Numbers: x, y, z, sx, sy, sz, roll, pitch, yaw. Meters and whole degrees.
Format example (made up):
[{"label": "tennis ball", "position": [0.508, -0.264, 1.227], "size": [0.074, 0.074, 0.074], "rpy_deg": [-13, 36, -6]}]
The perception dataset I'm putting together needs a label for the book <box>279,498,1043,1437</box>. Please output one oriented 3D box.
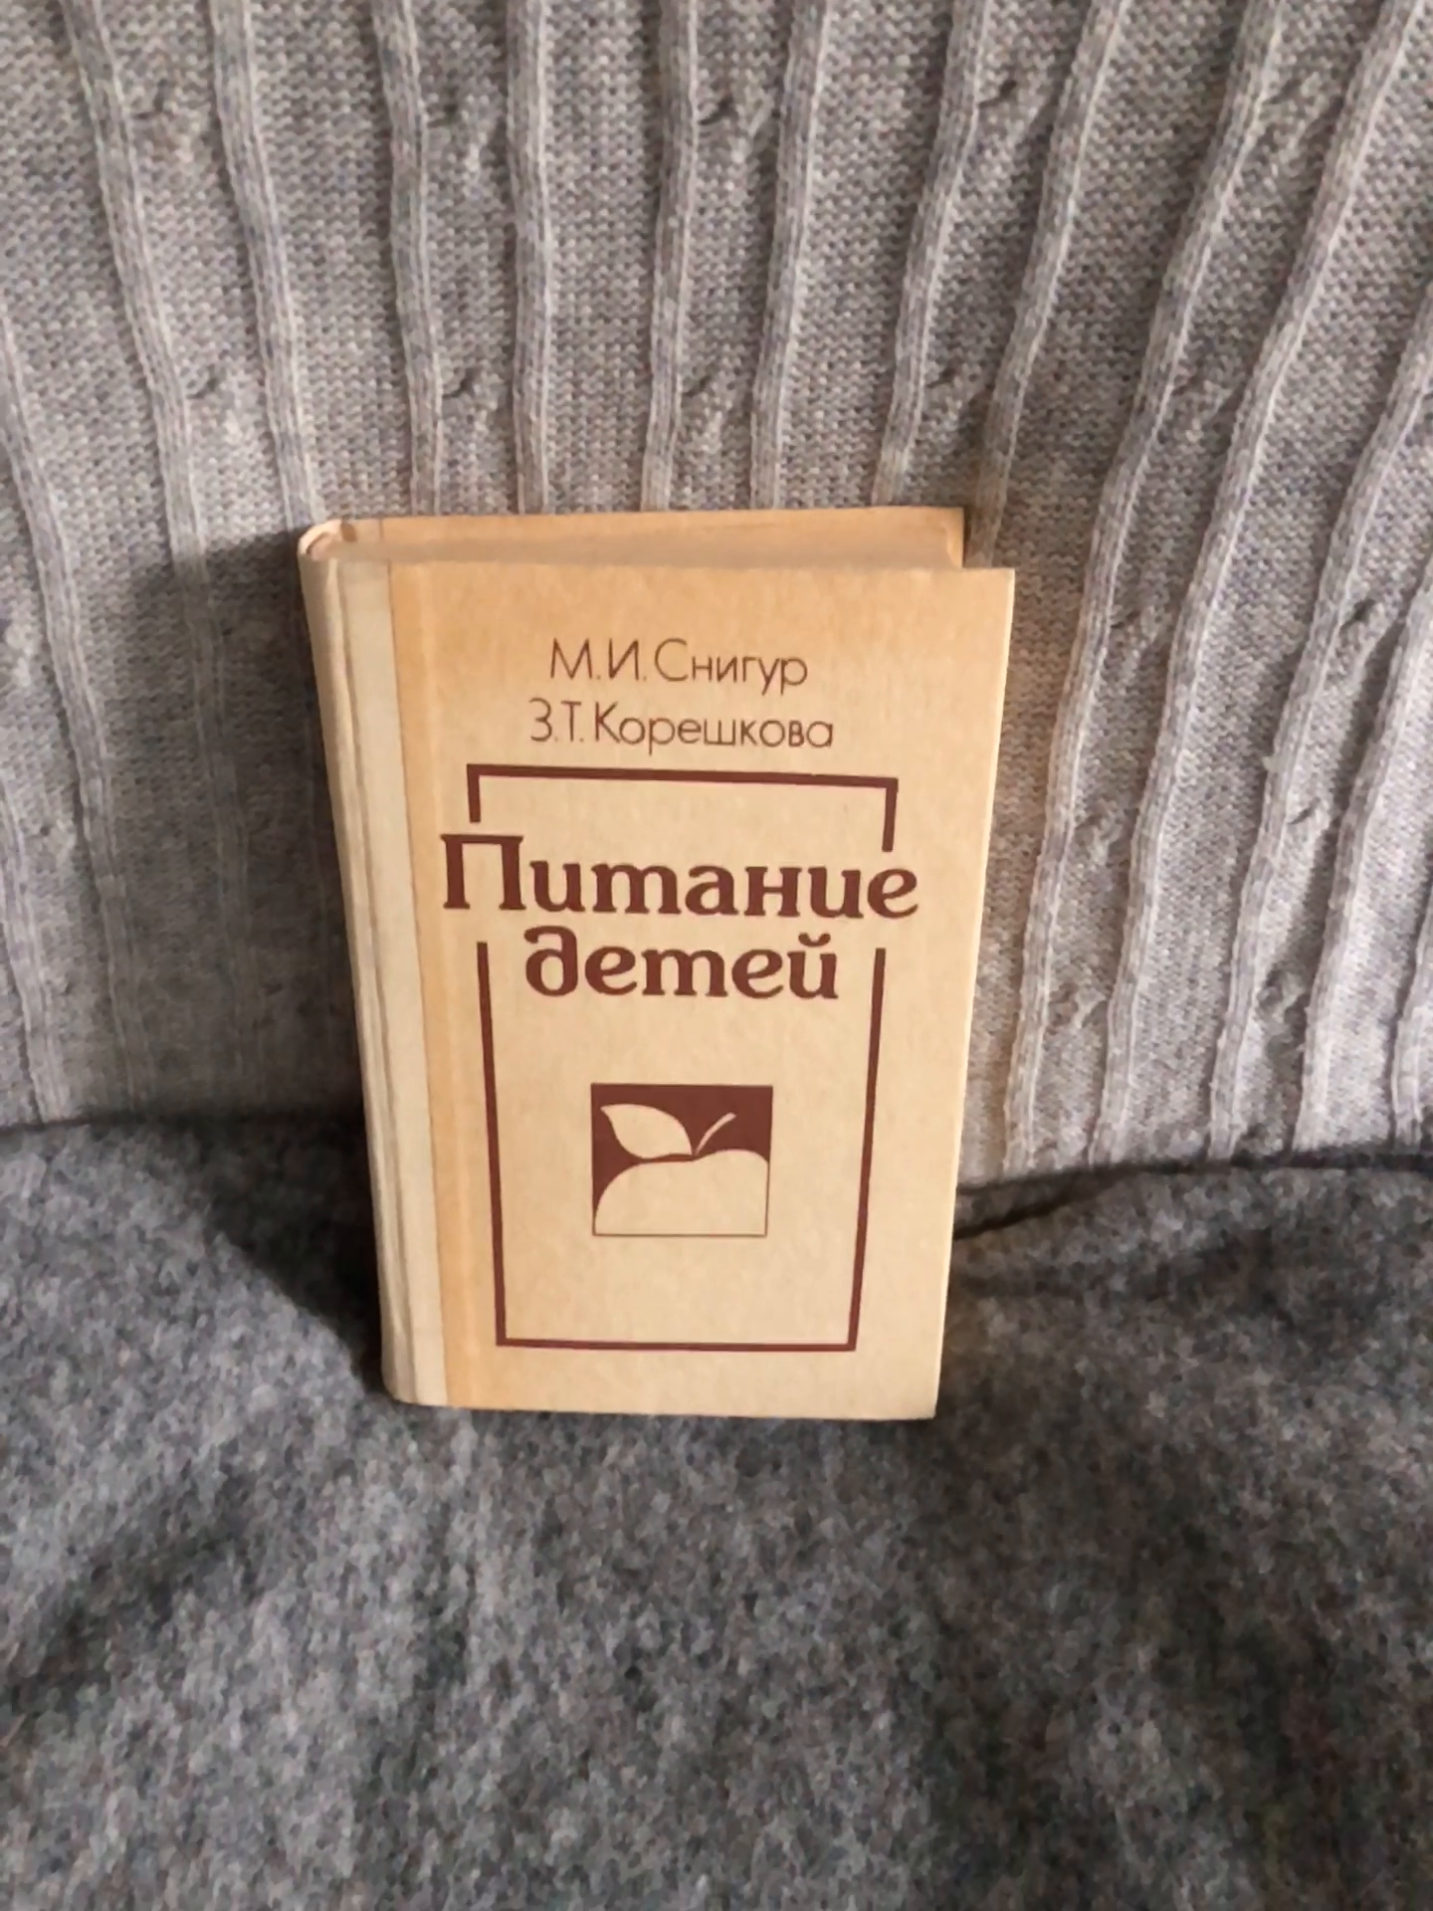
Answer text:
[{"label": "book", "position": [-0.010, 0.011, 0.355], "size": [0.139, 0.212, 0.042], "rpy_deg": [-1, 27, -1]}]
